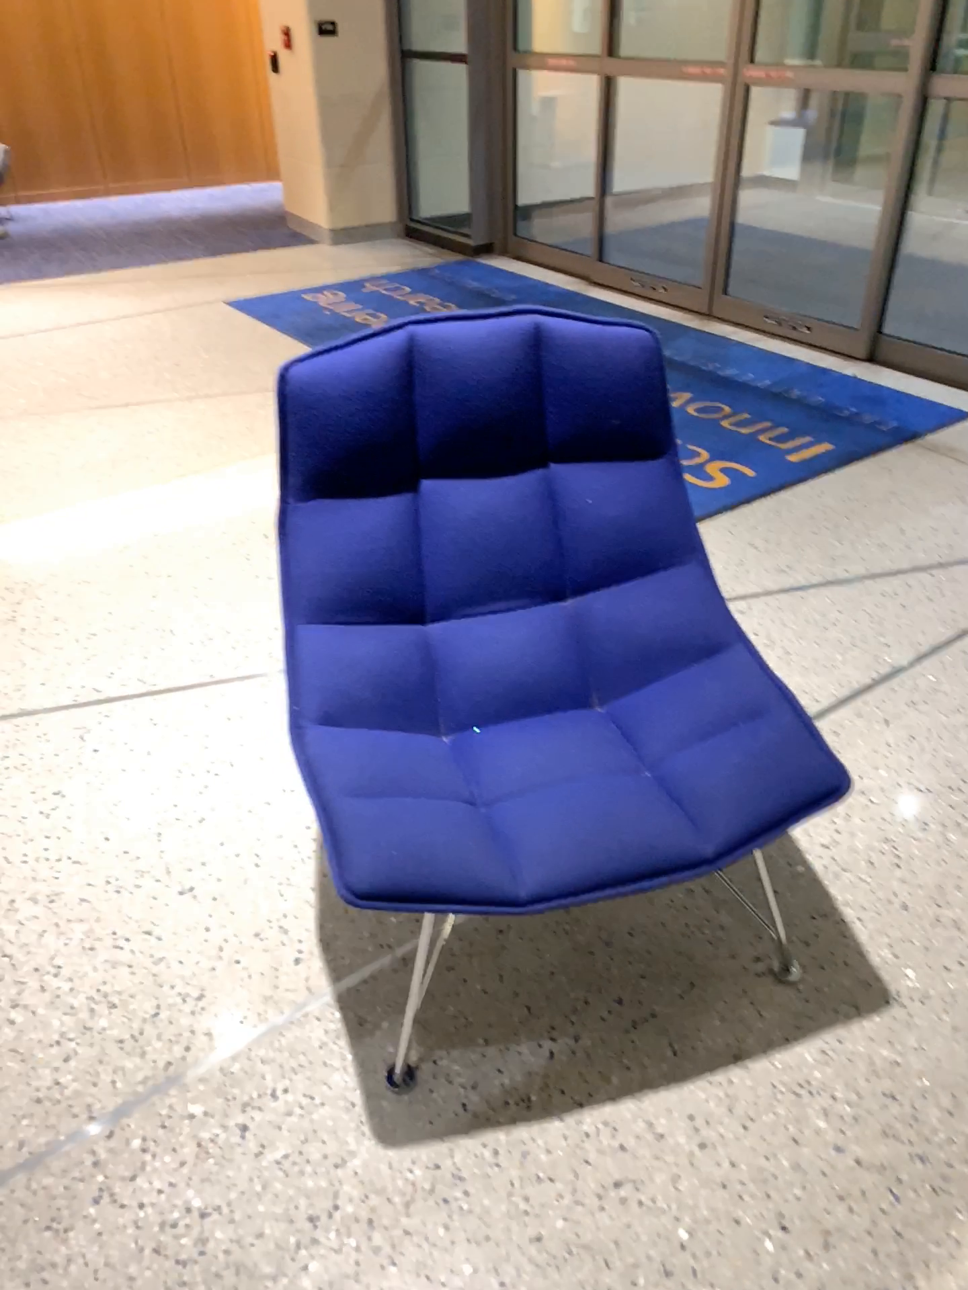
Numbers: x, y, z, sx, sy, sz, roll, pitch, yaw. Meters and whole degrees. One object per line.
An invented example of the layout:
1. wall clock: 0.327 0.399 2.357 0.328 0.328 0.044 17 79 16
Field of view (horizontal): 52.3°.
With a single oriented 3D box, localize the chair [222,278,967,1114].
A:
1. chair: 0.111 0.007 1.564 0.855 0.893 0.801 -9 34 -12
